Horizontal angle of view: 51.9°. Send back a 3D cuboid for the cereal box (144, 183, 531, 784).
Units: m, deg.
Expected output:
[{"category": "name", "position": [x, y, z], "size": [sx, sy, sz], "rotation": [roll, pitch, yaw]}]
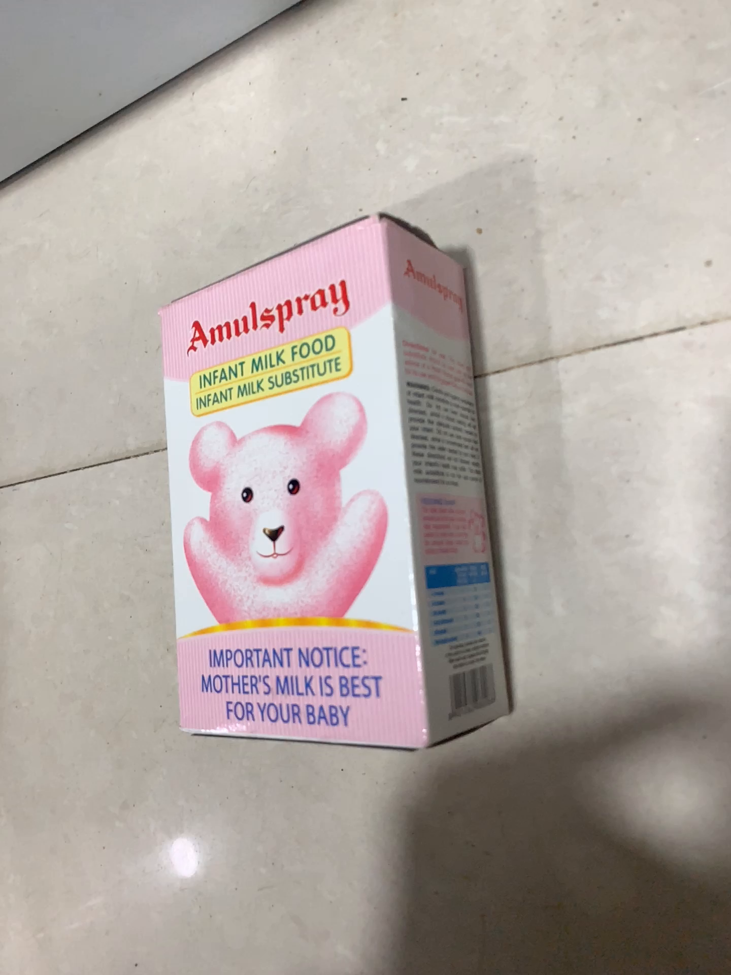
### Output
[{"category": "cereal box", "position": [-0.012, 0.003, 0.219], "size": [0.090, 0.050, 0.140], "rotation": [-10, 81, 35]}]
